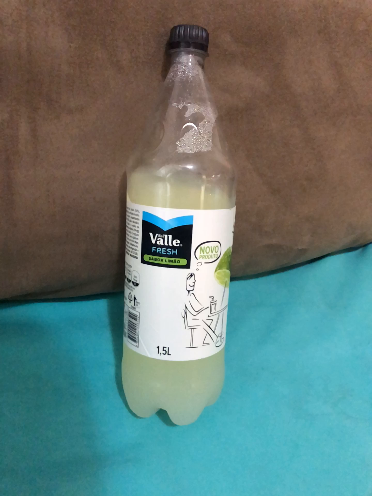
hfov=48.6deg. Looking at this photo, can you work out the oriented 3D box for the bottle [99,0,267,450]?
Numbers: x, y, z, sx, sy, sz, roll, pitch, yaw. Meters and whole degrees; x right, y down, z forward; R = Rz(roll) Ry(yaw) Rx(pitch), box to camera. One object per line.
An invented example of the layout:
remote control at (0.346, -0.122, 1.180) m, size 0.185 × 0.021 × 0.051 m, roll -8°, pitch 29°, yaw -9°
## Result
bottle at (-0.006, -0.026, 0.352) m, size 0.100 × 0.330 × 0.100 m, roll -2°, pitch 3°, yaw 0°
